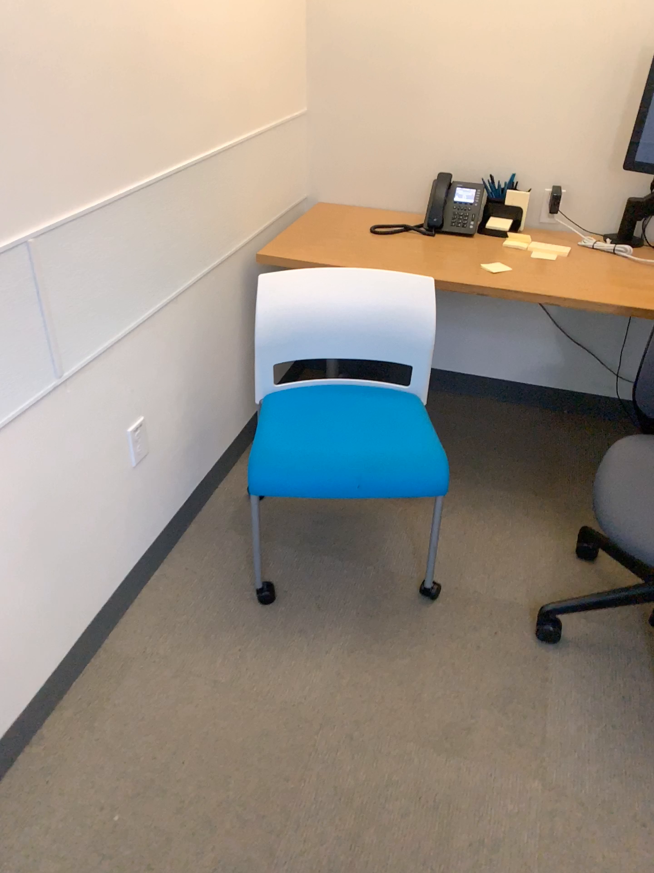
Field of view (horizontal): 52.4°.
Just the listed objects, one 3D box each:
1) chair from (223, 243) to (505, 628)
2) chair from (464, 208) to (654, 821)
[{"bbox_3d":[0.058,-0.042,1.766,0.530,0.686,0.795,1,34,-1],"label":"chair"},{"bbox_3d":[0.932,0.068,1.612,0.752,0.885,0.973,20,38,26],"label":"chair"}]
